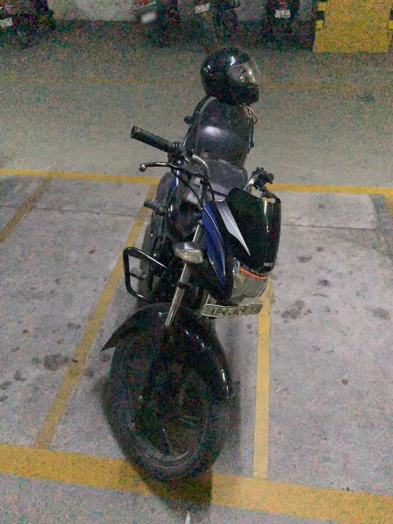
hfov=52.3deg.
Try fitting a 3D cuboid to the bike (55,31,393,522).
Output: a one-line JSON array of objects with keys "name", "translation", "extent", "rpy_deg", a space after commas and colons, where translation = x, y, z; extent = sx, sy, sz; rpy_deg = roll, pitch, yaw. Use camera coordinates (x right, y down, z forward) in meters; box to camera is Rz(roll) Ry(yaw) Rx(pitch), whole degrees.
[{"name": "bike", "translation": [0.129, -0.097, 1.768], "extent": [0.767, 1.157, 1.725], "rpy_deg": [0, 44, 3]}]
